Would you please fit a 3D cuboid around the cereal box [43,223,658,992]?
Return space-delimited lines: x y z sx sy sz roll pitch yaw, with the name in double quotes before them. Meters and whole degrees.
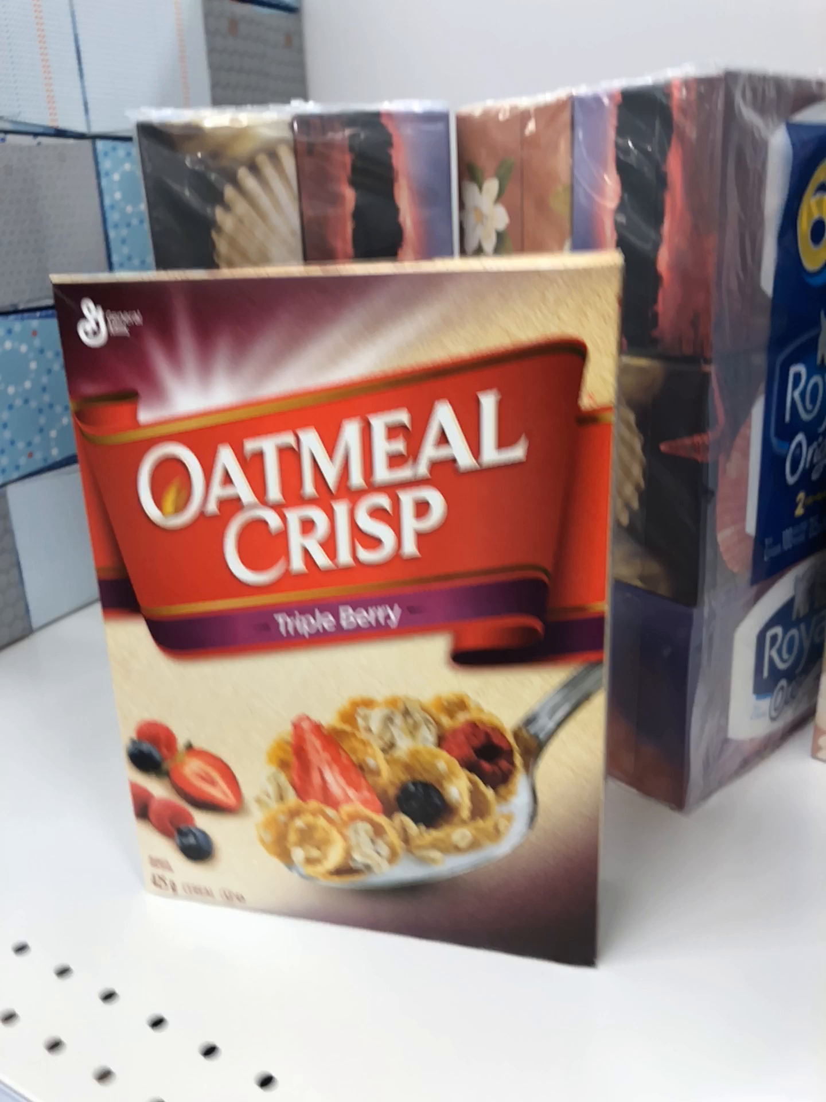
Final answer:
"cereal box" -0.016 0.021 0.357 0.200 0.269 0.060 3 20 17
